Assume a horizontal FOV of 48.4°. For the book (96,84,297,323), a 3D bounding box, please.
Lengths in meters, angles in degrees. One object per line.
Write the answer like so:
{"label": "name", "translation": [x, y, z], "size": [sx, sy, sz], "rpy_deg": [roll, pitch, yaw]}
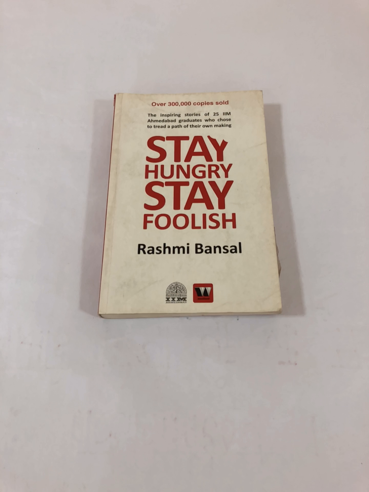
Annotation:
{"label": "book", "translation": [0.008, -0.038, 0.322], "size": [0.130, 0.040, 0.190], "rpy_deg": [0, 67, 1]}
